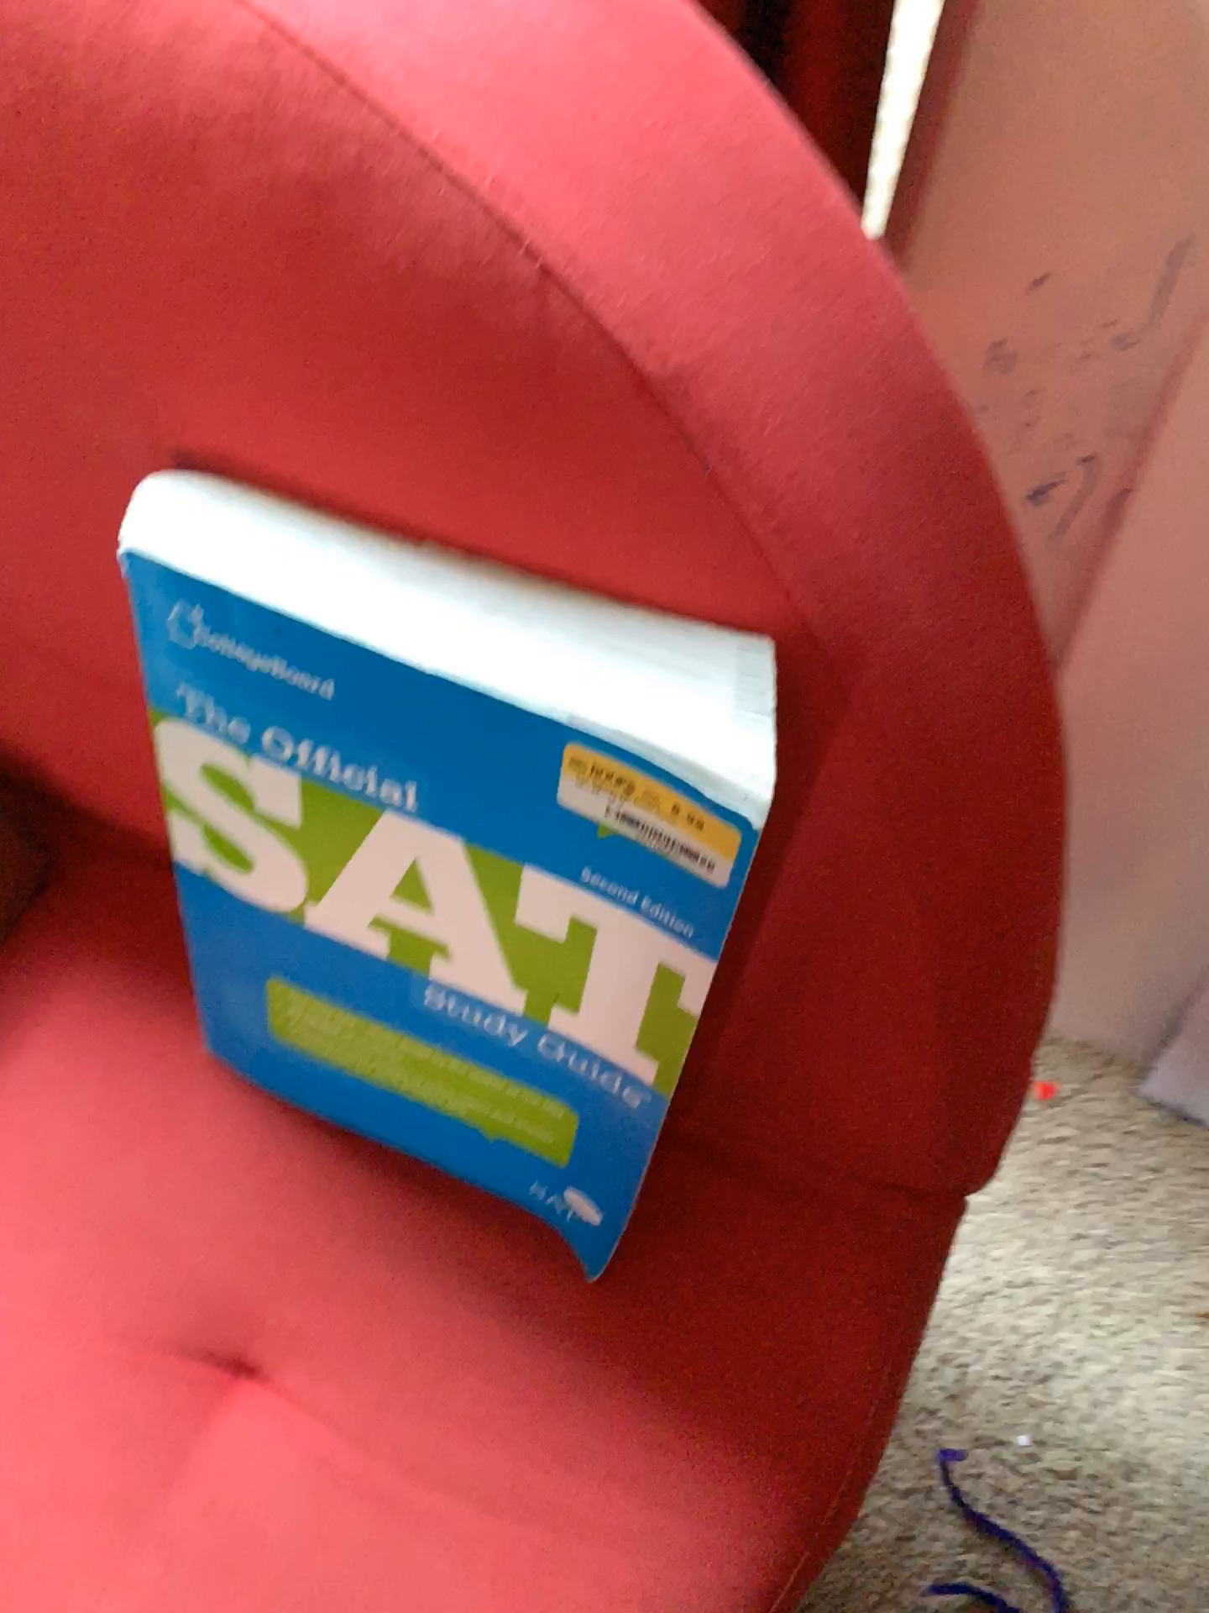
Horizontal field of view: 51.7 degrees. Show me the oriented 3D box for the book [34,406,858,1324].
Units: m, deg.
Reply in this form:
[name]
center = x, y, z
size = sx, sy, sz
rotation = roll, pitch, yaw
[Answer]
[book]
center = -0.066, 0.029, 0.443
size = 0.230, 0.259, 0.080
rotation = 24, 41, 15
